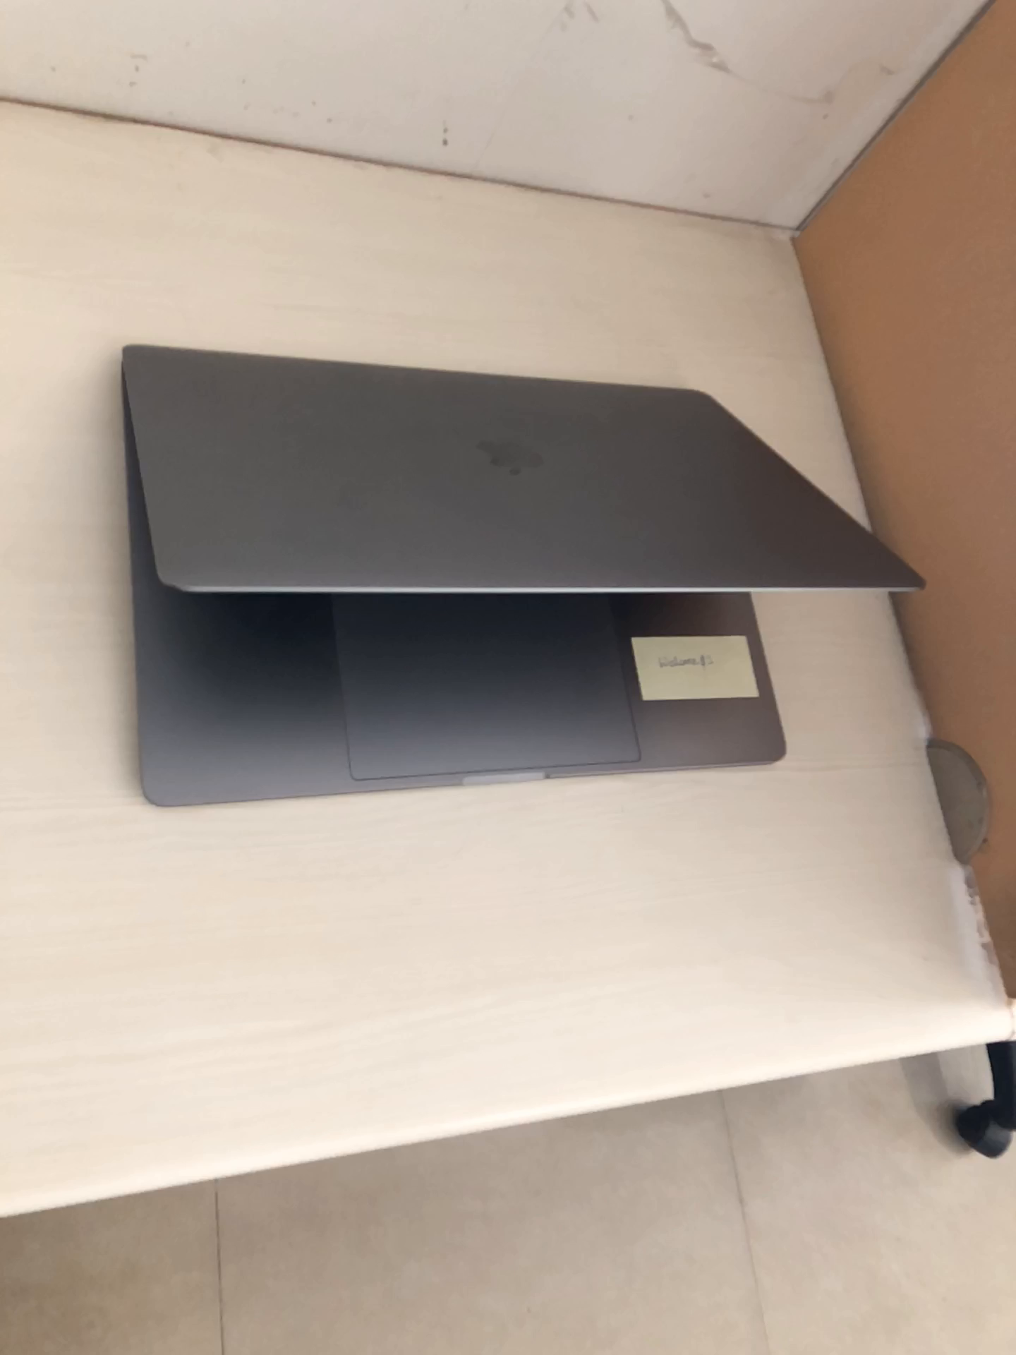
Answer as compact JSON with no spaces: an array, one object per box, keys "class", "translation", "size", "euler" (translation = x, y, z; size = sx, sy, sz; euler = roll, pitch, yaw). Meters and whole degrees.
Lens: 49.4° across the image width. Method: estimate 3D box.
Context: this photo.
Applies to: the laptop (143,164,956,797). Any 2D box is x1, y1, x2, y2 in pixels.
[{"class":"laptop","translation":[0.006,-0.082,0.529],"size":[0.330,0.134,0.233],"euler":[-1,69,-22]}]
